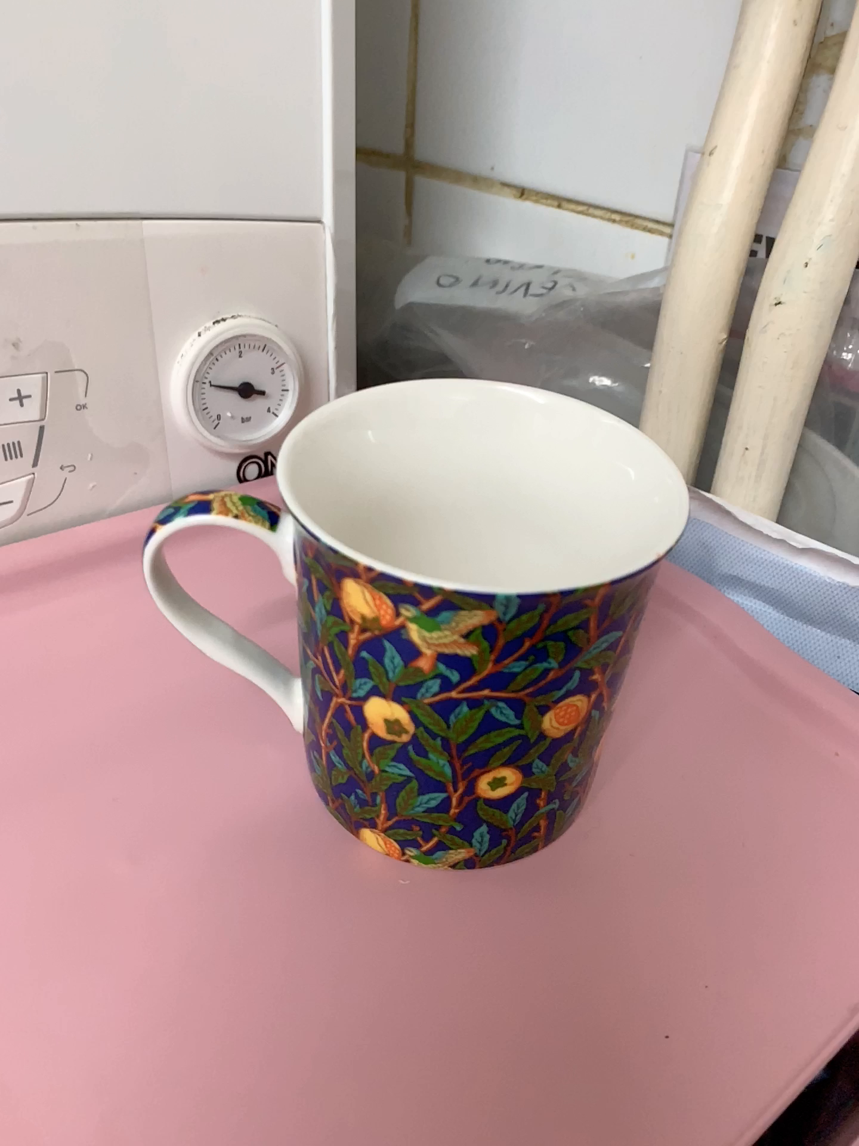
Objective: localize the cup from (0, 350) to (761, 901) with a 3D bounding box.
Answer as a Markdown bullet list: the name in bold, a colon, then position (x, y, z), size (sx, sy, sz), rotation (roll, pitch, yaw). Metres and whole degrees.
- **cup**: position (-0.010, 0.007, 0.192), size (0.120, 0.079, 0.081), rotation (3, 32, 0)
